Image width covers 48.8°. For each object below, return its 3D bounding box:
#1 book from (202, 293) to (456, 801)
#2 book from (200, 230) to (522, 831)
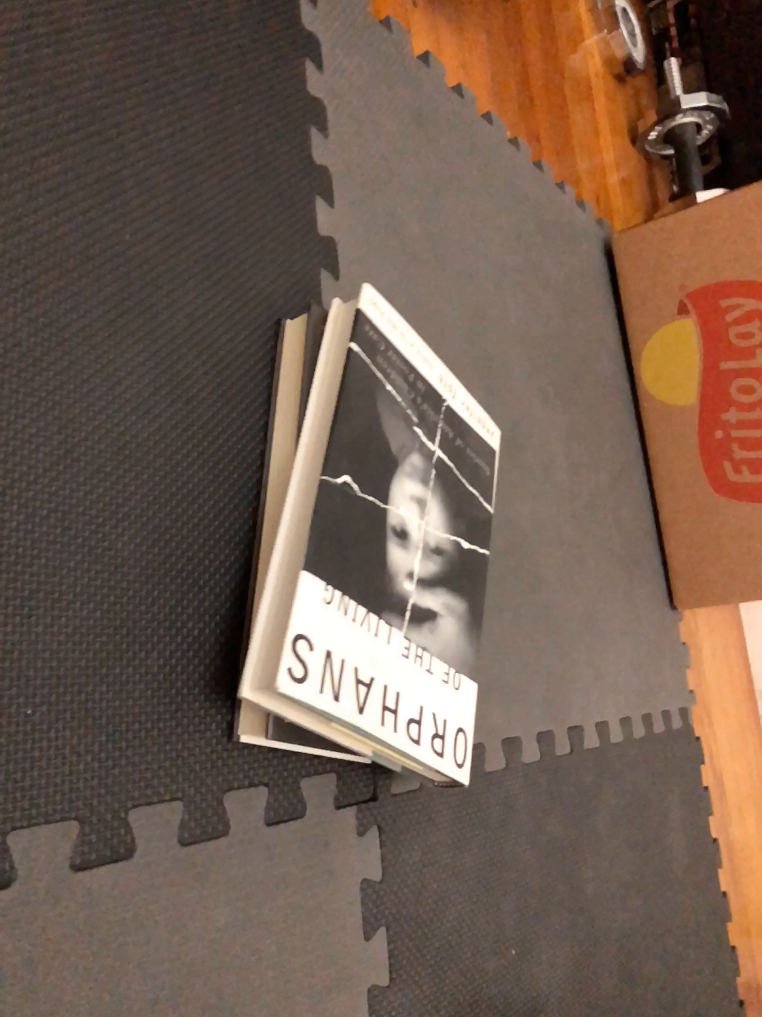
[{"bbox_3d":[-0.015,0.028,0.473,0.161,0.030,0.250,26,58,-46],"label":"book"},{"bbox_3d":[0.012,0.011,0.464,0.180,0.030,0.281,38,50,-40],"label":"book"}]
